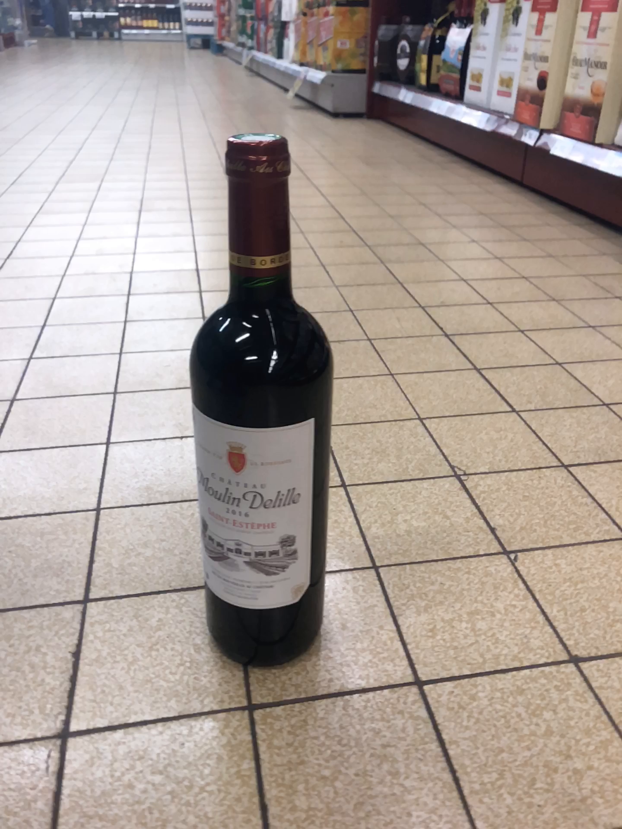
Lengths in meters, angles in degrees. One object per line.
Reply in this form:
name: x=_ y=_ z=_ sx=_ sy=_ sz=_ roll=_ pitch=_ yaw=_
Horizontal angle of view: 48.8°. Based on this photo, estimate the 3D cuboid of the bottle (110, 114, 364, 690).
bottle: x=-0.030 y=0.003 z=0.355 sx=0.080 sy=0.281 sz=0.081 roll=1 pitch=28 yaw=-1
